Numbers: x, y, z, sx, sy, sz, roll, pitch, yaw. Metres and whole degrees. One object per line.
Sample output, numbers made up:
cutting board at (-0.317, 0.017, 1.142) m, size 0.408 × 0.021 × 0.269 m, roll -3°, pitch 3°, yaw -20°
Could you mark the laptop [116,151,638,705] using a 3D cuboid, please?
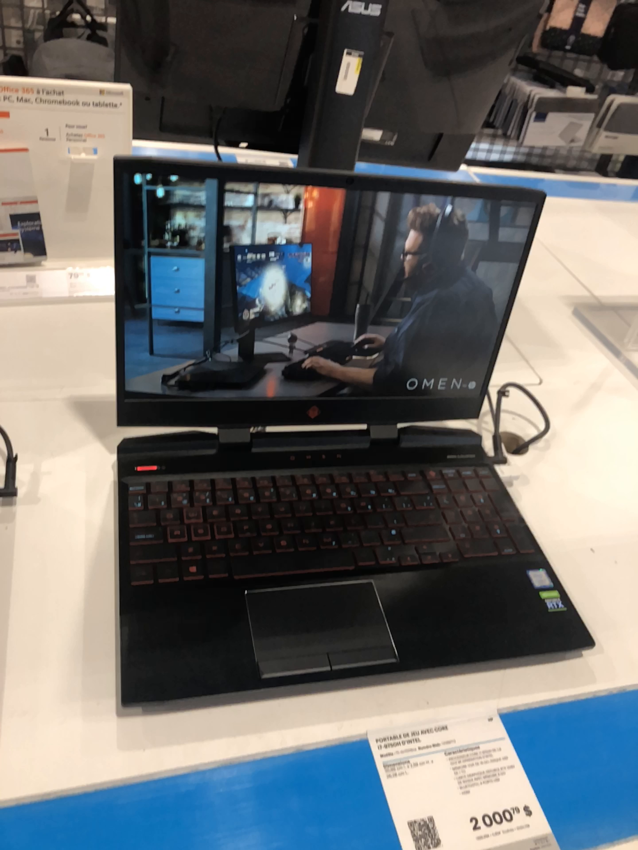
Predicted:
laptop at (0.033, -0.015, 0.538) m, size 0.355 × 0.239 × 0.294 m, roll -1°, pitch 42°, yaw -17°
